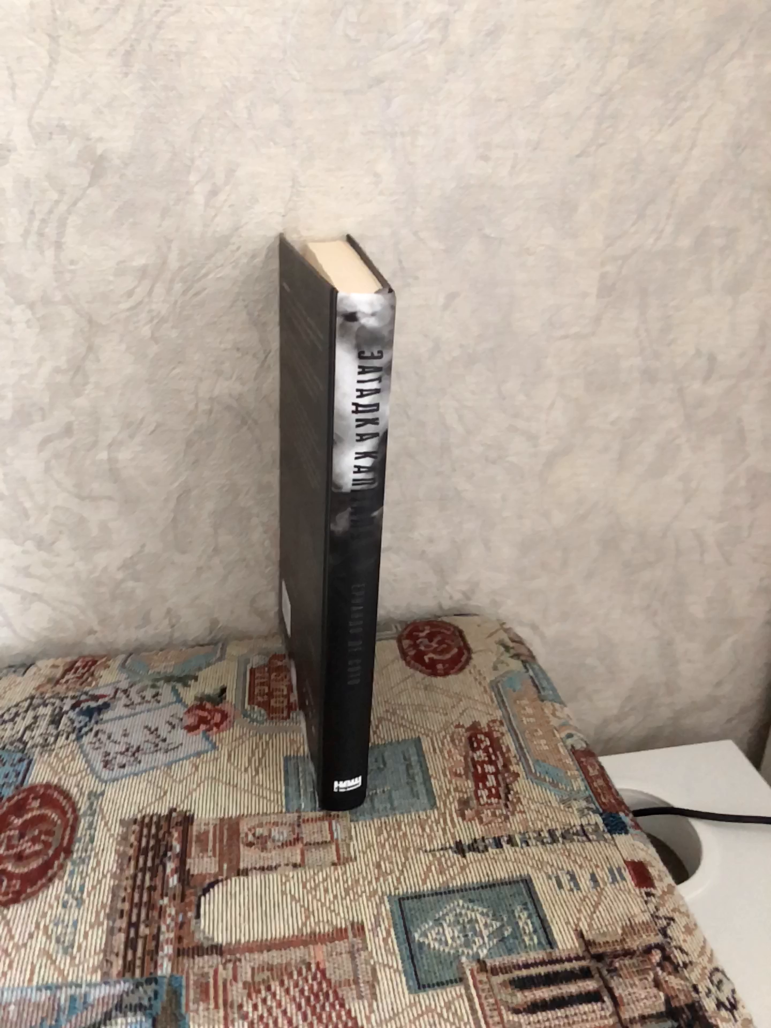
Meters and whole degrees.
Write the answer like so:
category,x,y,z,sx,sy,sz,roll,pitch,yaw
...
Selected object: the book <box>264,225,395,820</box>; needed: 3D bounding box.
category,x,y,z,sx,sy,sz,roll,pitch,yaw
book,-0.028,-0.003,0.348,0.035,0.200,0.138,-2,27,-8
